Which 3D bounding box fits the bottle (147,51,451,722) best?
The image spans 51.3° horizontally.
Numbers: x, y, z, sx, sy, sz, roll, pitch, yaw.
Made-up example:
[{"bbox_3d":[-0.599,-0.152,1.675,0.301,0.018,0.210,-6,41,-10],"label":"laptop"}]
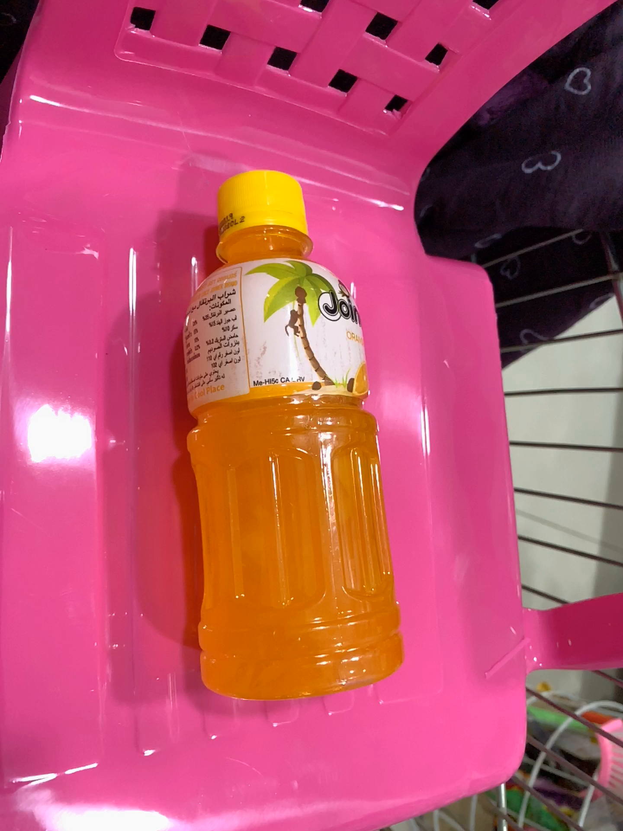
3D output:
[{"bbox_3d":[-0.004,-0.007,0.209,0.070,0.060,0.170,4,81,-52],"label":"bottle"}]
